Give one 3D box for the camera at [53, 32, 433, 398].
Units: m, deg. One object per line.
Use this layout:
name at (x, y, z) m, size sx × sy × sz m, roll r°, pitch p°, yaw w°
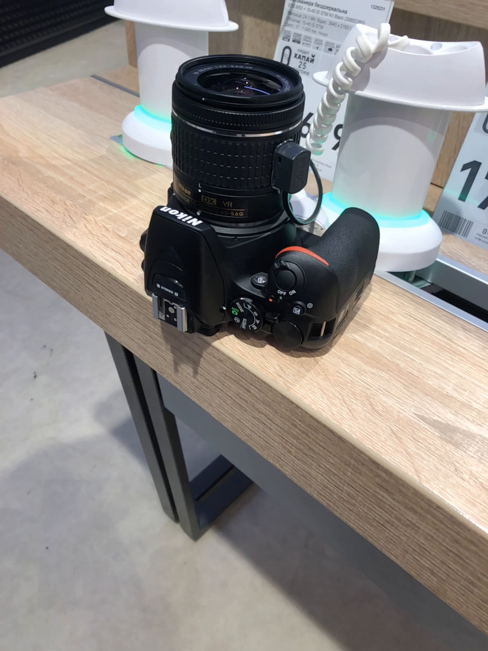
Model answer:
camera at (0.003, -0.065, 0.283) m, size 0.132 × 0.117 × 0.116 m, roll 22°, pitch 46°, yaw 20°
